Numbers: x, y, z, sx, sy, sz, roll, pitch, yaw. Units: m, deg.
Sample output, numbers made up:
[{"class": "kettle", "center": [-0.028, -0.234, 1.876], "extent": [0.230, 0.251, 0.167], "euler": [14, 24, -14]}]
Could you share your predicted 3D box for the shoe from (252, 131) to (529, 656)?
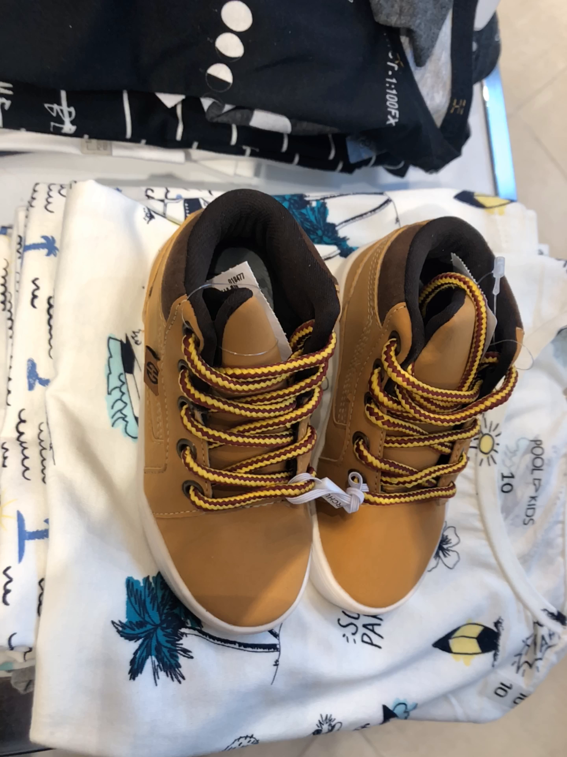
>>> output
[{"class": "shoe", "center": [0.039, 0.009, 0.256], "extent": [0.070, 0.090, 0.170], "euler": [7, 80, -17]}]

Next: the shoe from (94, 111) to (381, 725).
[{"class": "shoe", "center": [-0.025, 0.010, 0.229], "extent": [0.070, 0.090, 0.170], "euler": [-3, 85, -19]}]
